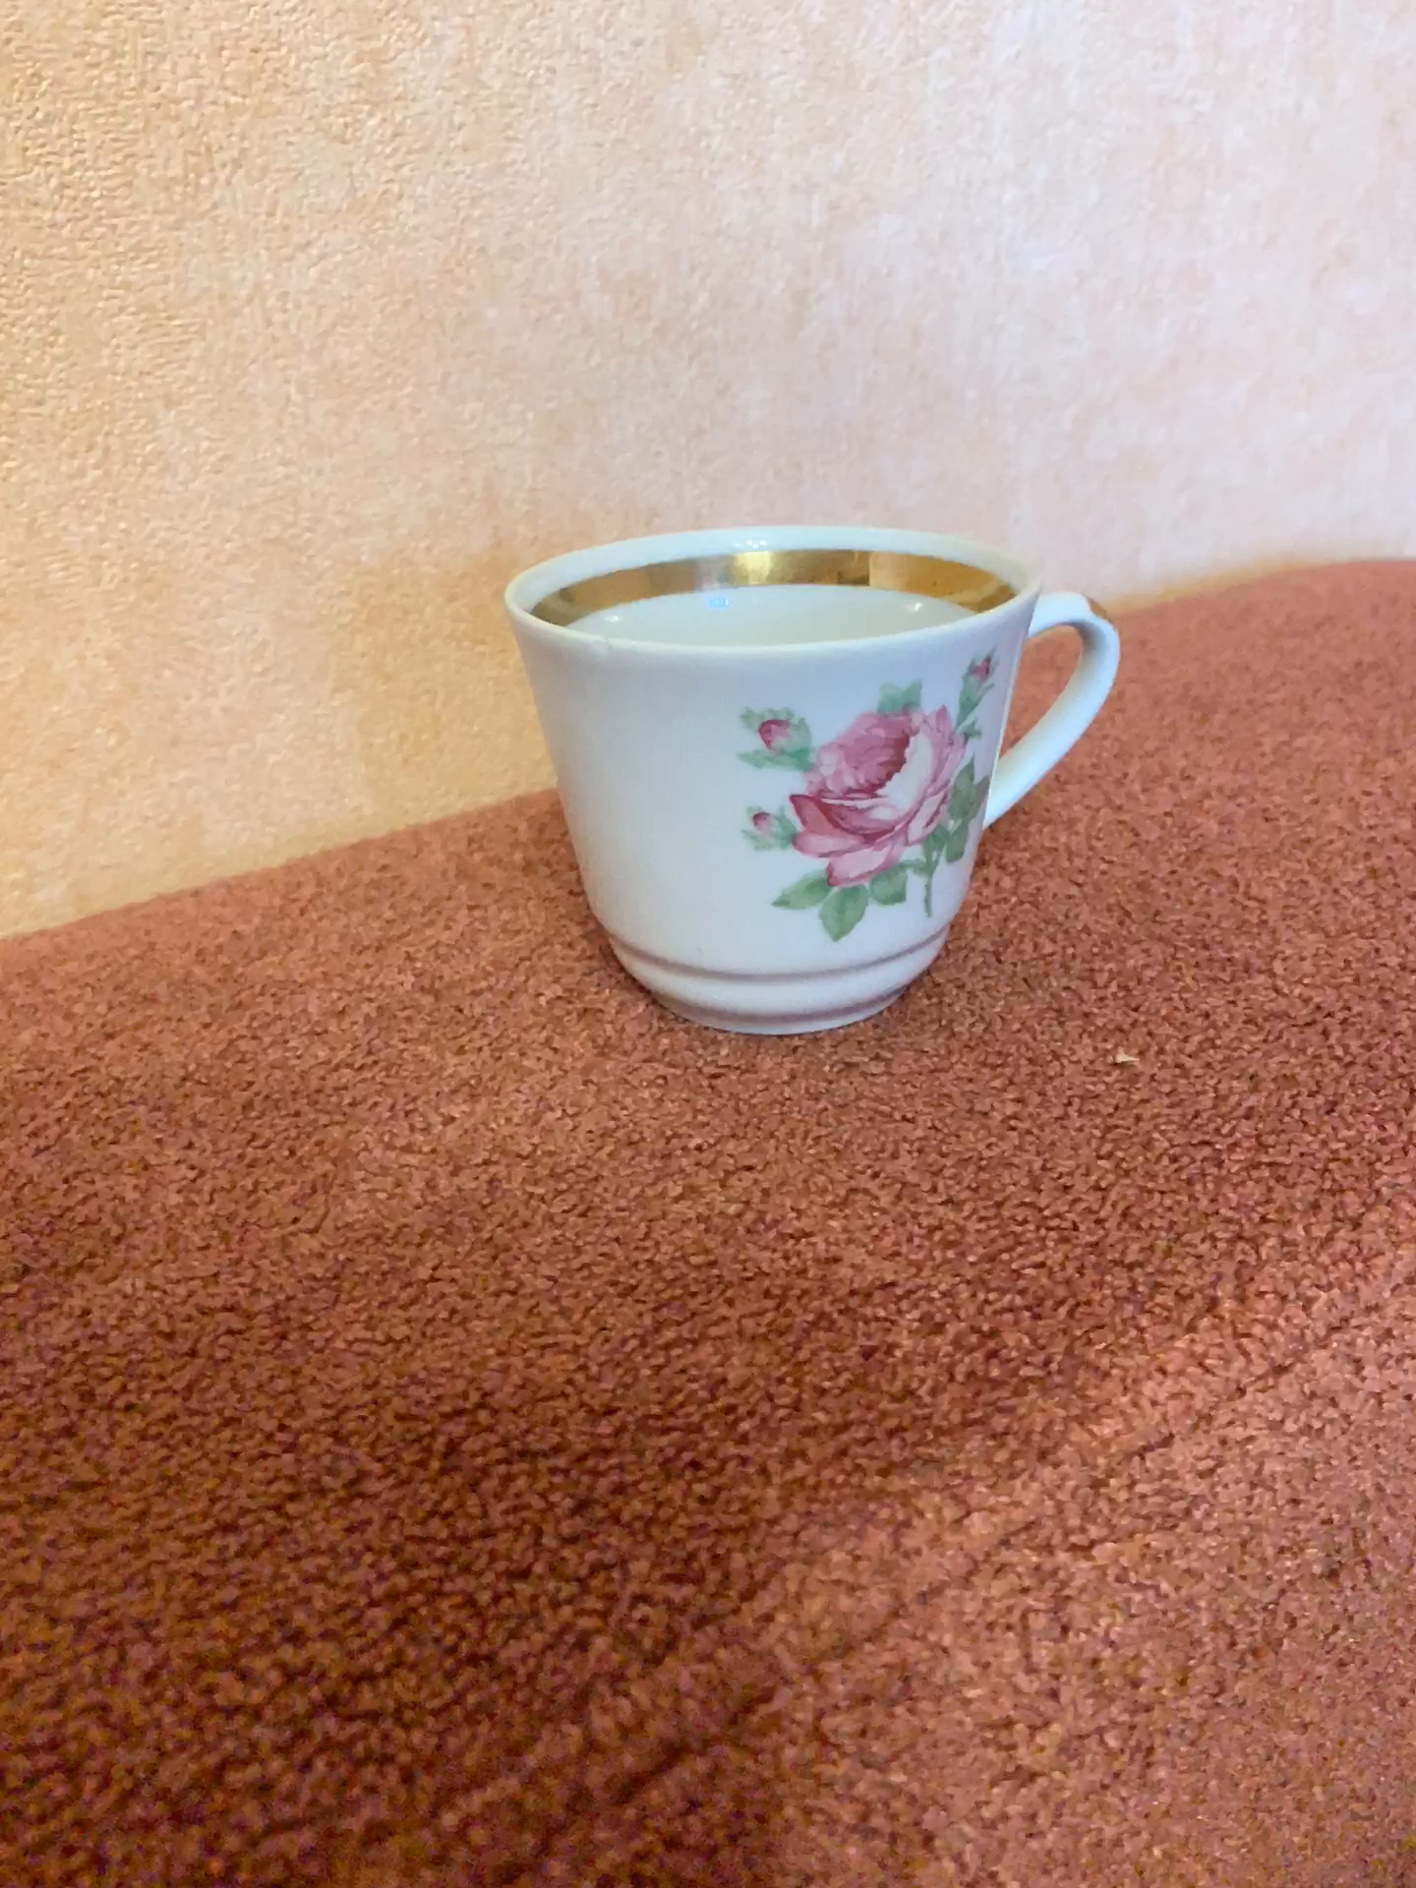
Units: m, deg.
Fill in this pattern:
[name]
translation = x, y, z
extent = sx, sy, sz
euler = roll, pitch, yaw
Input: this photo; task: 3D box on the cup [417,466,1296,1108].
[cup]
translation = 0.015, -0.027, 0.192
extent = 0.086, 0.047, 0.067
euler = -14, 31, -19
